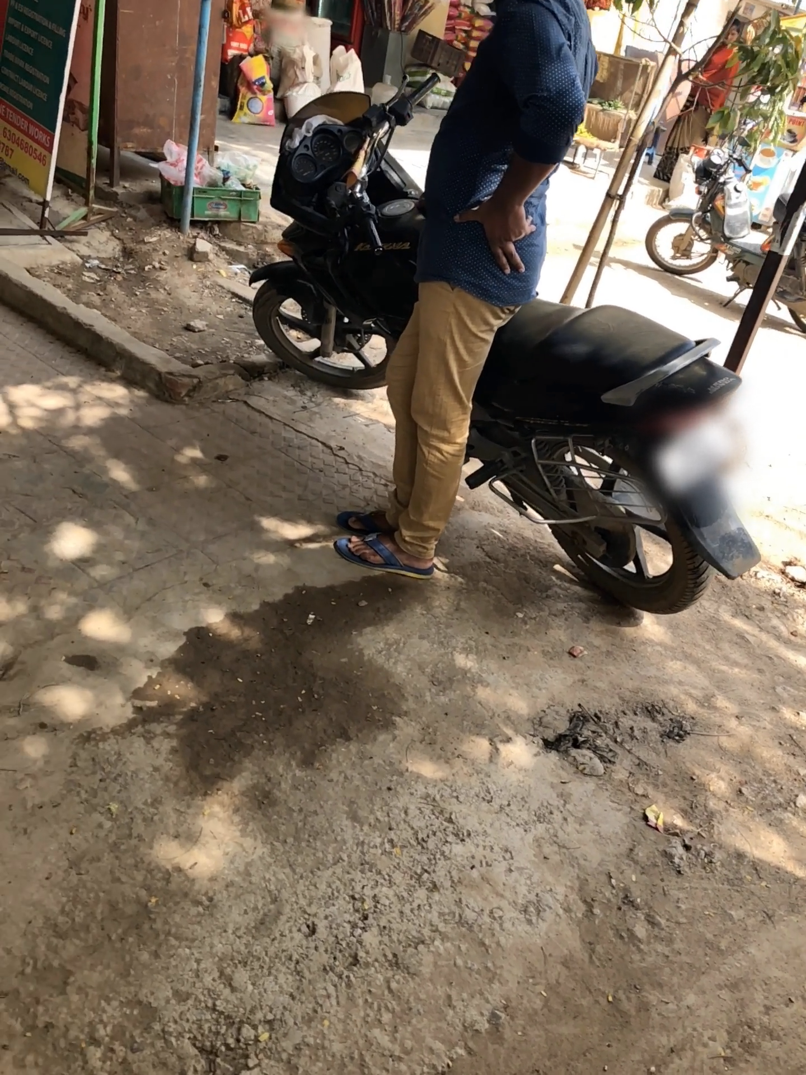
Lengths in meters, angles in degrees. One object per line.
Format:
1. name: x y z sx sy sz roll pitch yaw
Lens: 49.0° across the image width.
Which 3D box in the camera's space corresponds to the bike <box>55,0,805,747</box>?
1. bike: -0.070 -0.614 2.369 0.801 1.176 1.892 -18 44 -41
